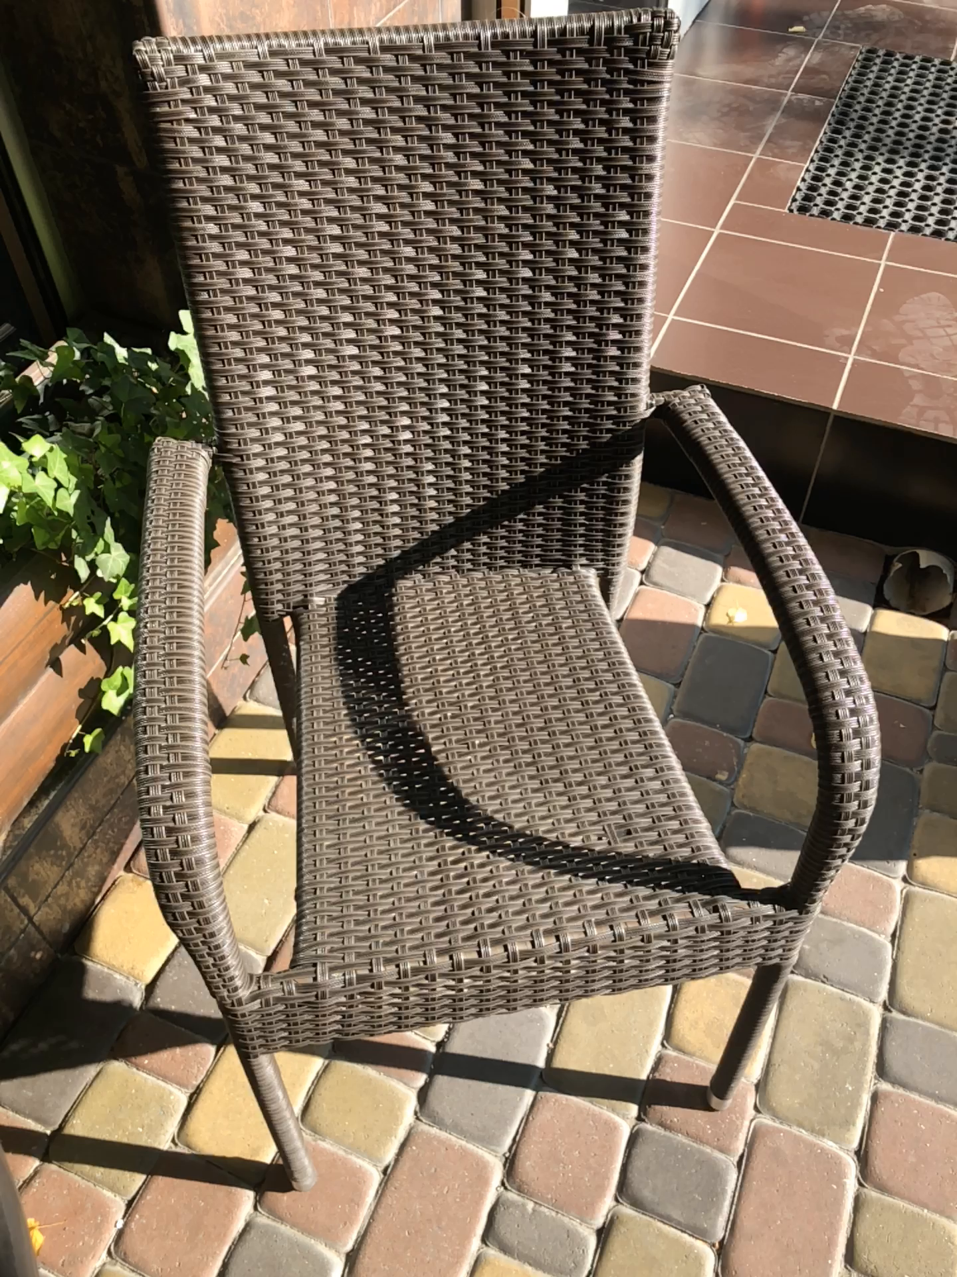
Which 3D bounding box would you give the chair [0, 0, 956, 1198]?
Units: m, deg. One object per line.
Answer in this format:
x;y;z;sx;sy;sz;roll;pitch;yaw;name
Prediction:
-0.015;0.025;0.917;0.520;0.847;0.582;-7;51;-6;chair
